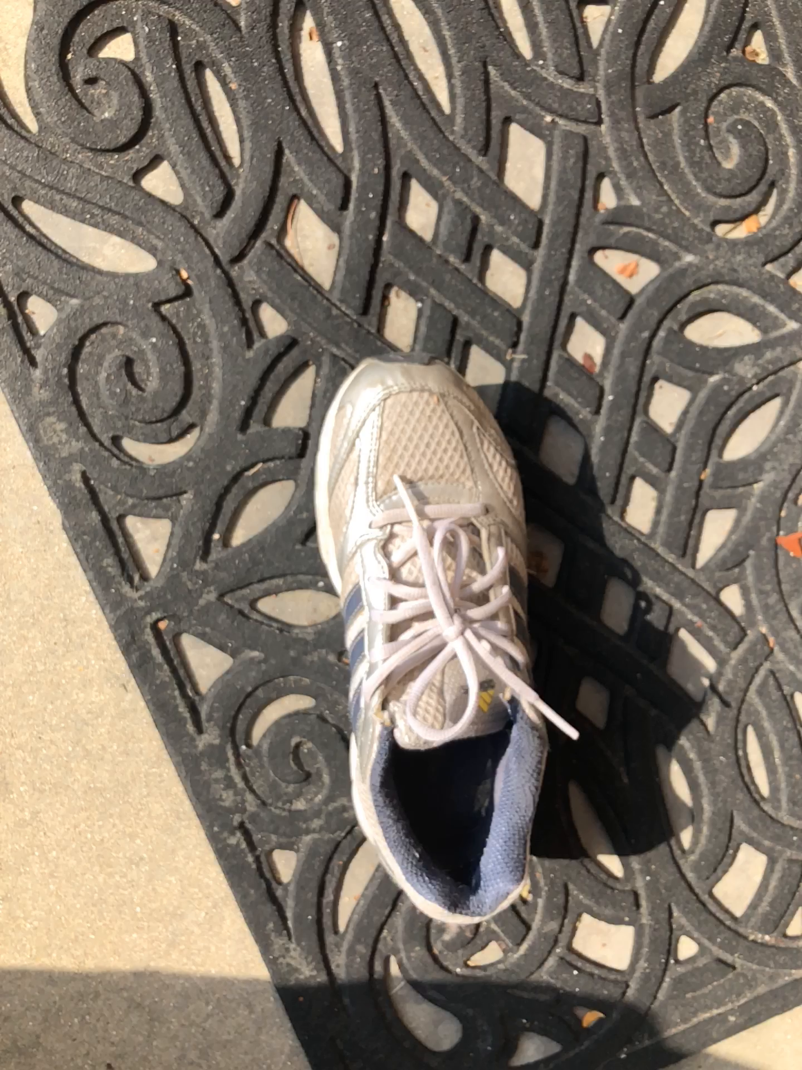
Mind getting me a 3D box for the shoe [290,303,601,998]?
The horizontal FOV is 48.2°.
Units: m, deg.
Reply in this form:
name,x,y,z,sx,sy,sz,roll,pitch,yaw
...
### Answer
name,x,y,z,sx,sy,sz,roll,pitch,yaw
shoe,0.014,0.041,0.403,0.100,0.130,0.260,-6,98,-6
